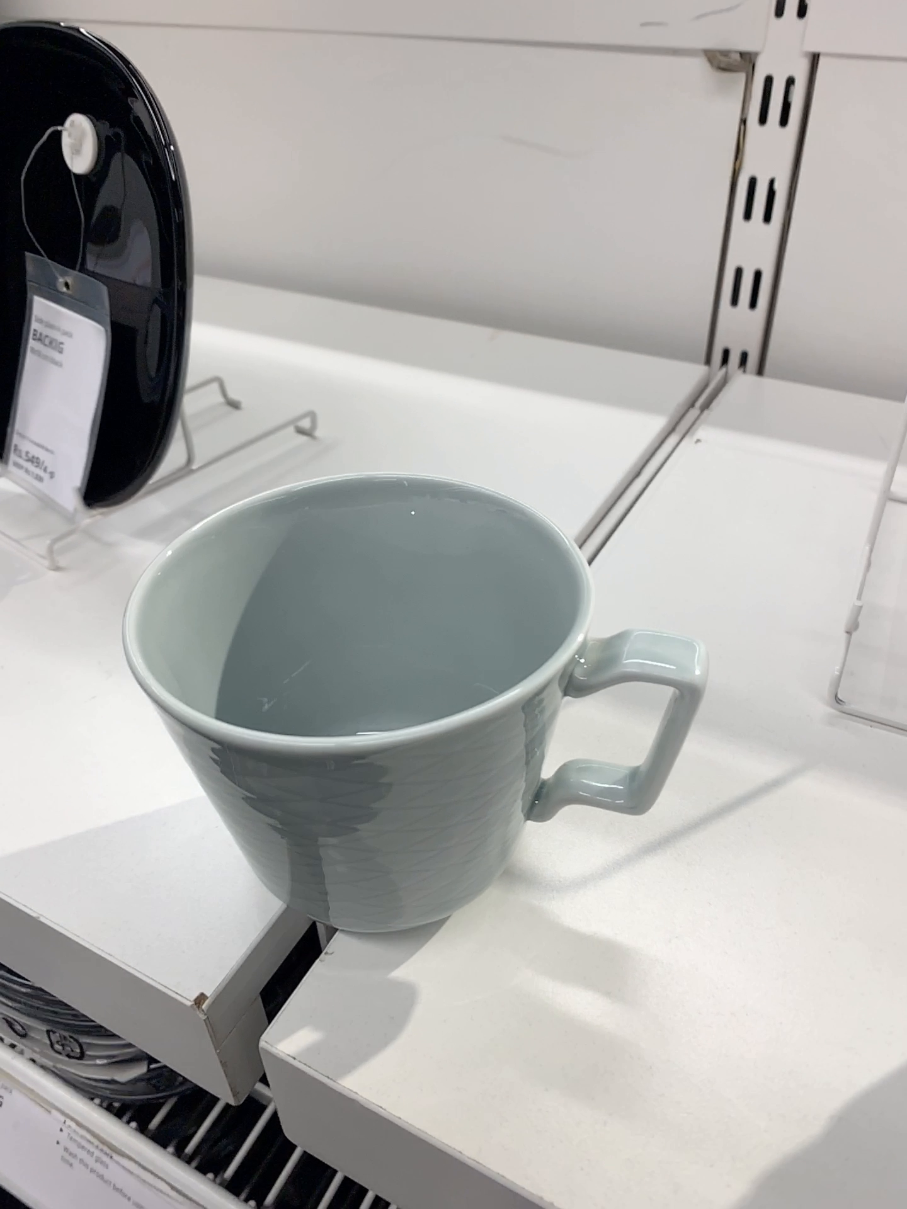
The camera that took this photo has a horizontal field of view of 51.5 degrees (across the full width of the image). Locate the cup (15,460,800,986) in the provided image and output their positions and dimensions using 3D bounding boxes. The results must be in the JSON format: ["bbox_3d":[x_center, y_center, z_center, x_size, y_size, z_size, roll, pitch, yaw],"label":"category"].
[{"bbox_3d":[-0.007,0.022,0.217,0.130,0.070,0.100,0,36,0],"label":"cup"}]
